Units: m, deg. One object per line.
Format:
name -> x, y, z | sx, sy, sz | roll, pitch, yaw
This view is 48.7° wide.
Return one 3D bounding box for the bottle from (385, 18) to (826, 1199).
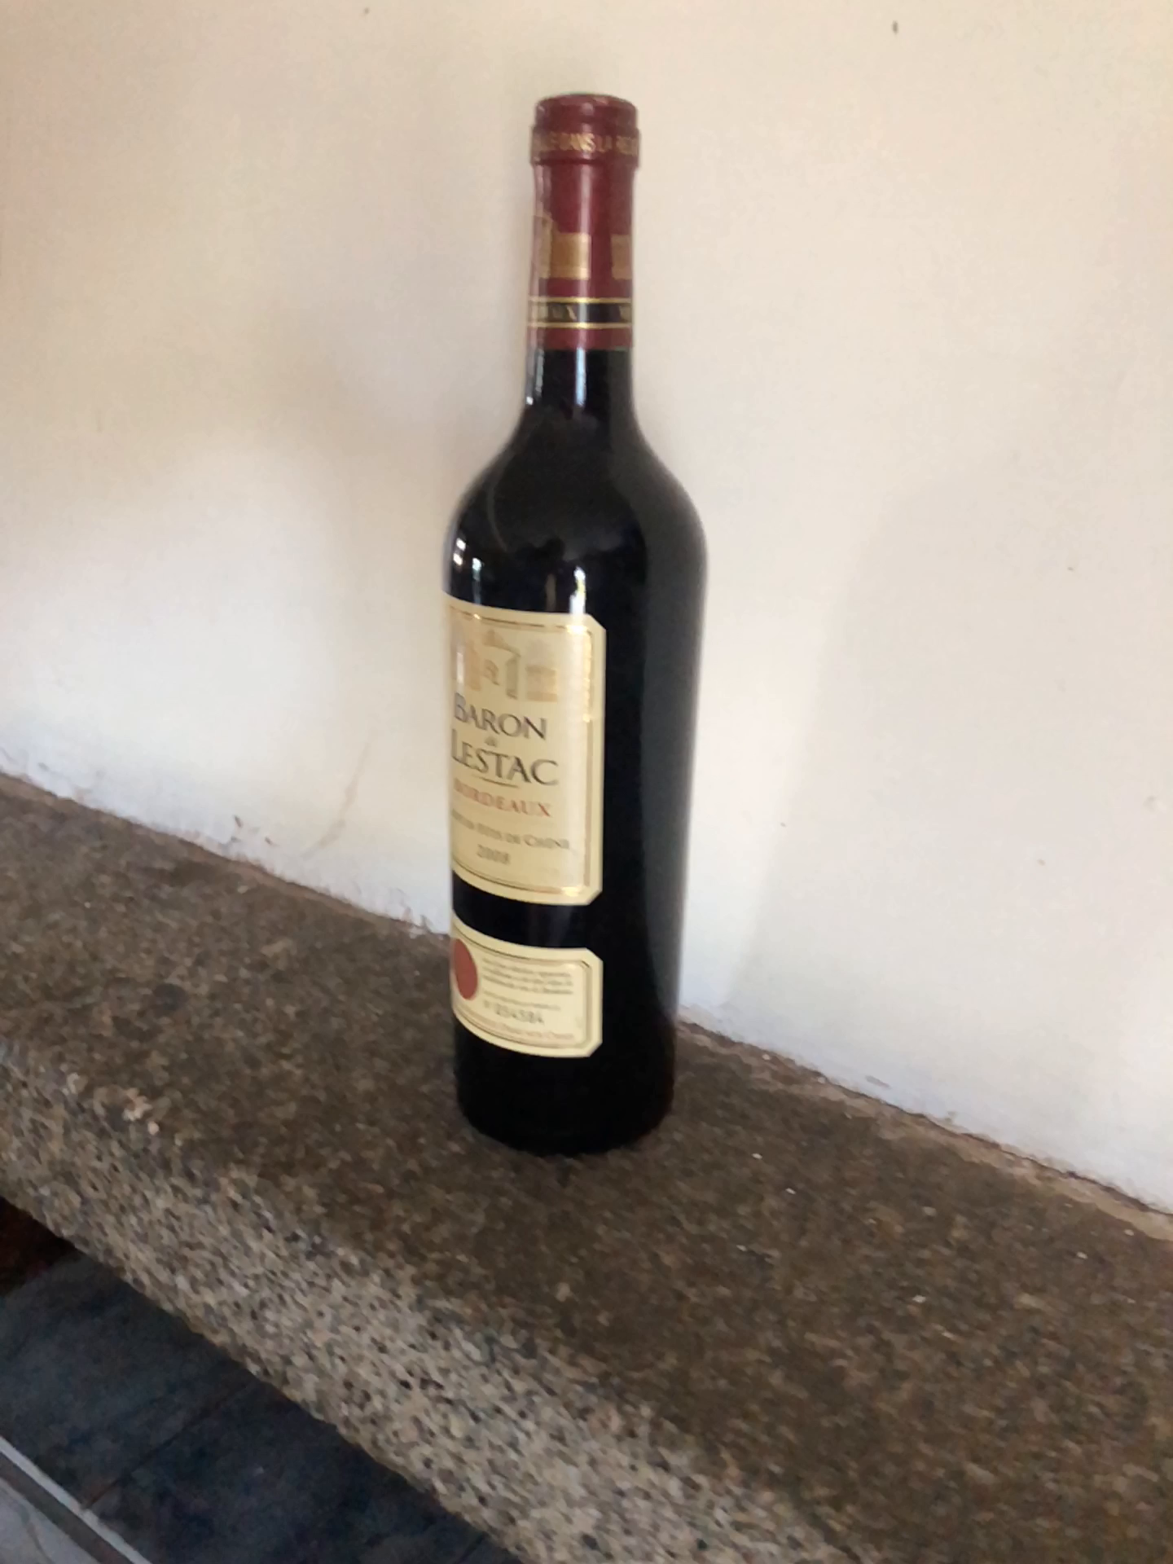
bottle -> 0.002, -0.038, 0.354 | 0.080, 0.279, 0.070 | 15, 22, 37
